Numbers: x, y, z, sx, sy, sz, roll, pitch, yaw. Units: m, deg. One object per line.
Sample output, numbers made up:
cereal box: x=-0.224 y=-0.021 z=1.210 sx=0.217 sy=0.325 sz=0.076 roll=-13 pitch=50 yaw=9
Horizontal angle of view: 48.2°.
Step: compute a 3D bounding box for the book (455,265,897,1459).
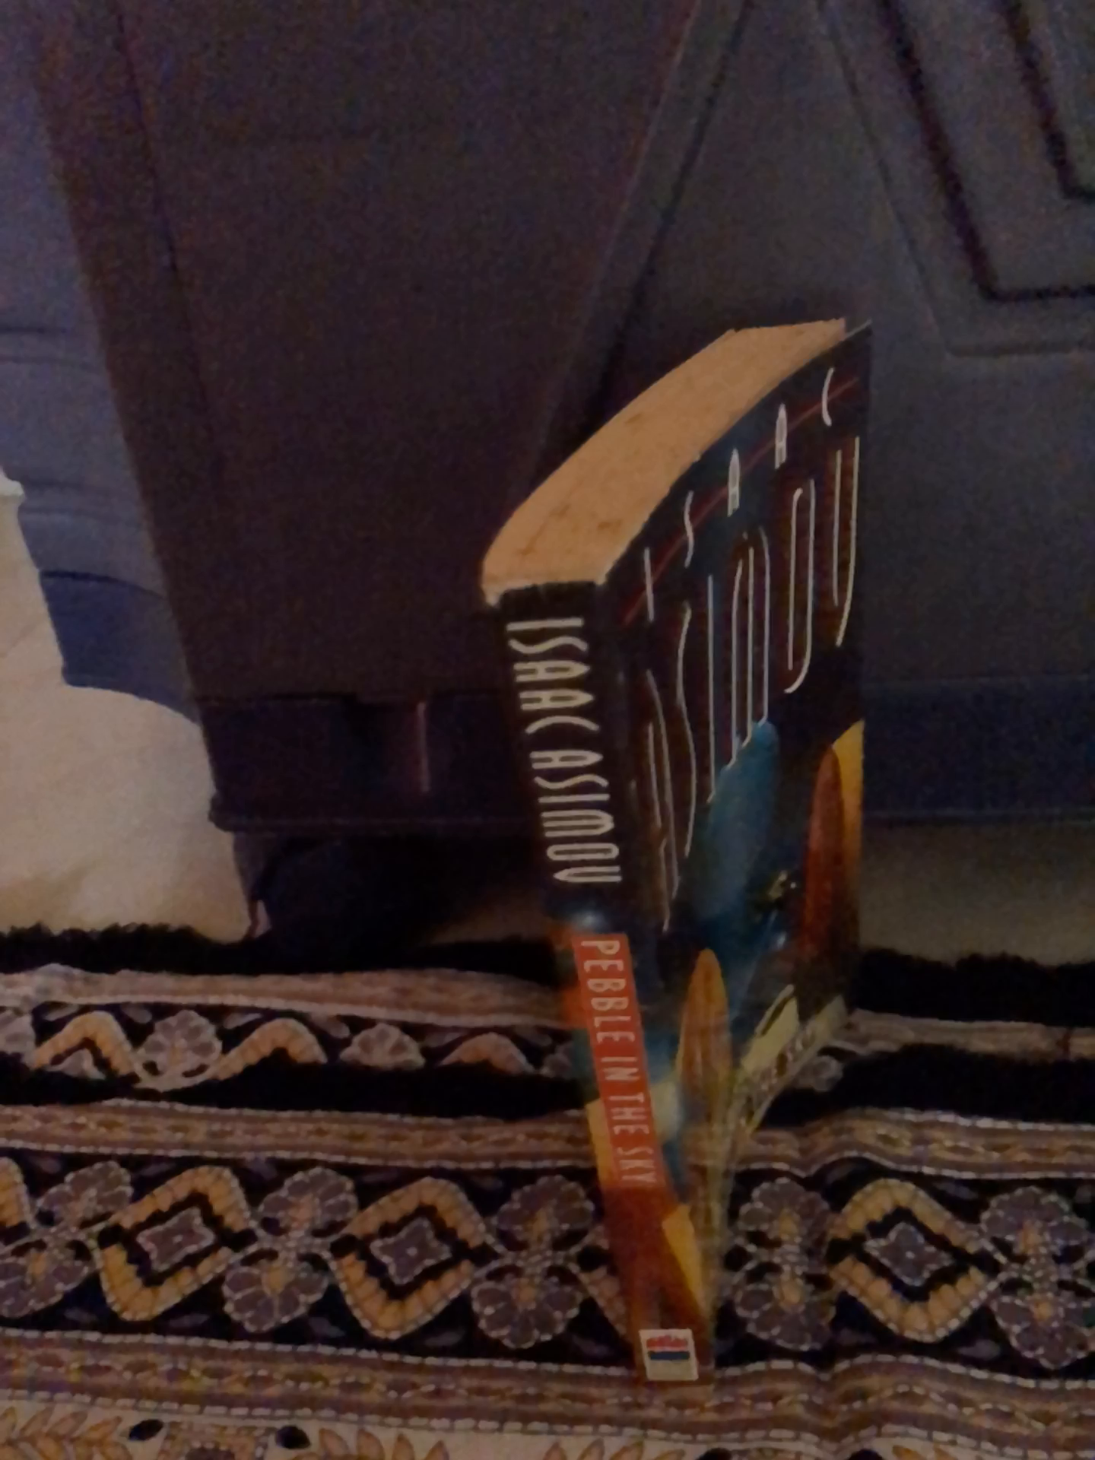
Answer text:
book: x=0.043 y=0.020 z=0.251 sx=0.030 sy=0.189 sz=0.151 roll=6 pitch=32 yaw=23
